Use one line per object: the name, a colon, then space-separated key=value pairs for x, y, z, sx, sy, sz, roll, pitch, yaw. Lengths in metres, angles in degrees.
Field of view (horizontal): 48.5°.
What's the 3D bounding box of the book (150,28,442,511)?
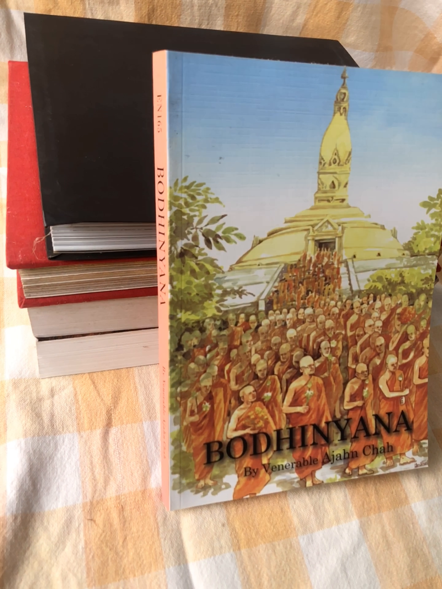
book: x=0.044 y=-0.005 z=0.233 sx=0.150 sy=0.200 sz=0.030 roll=-2 pitch=15 yaw=-16
